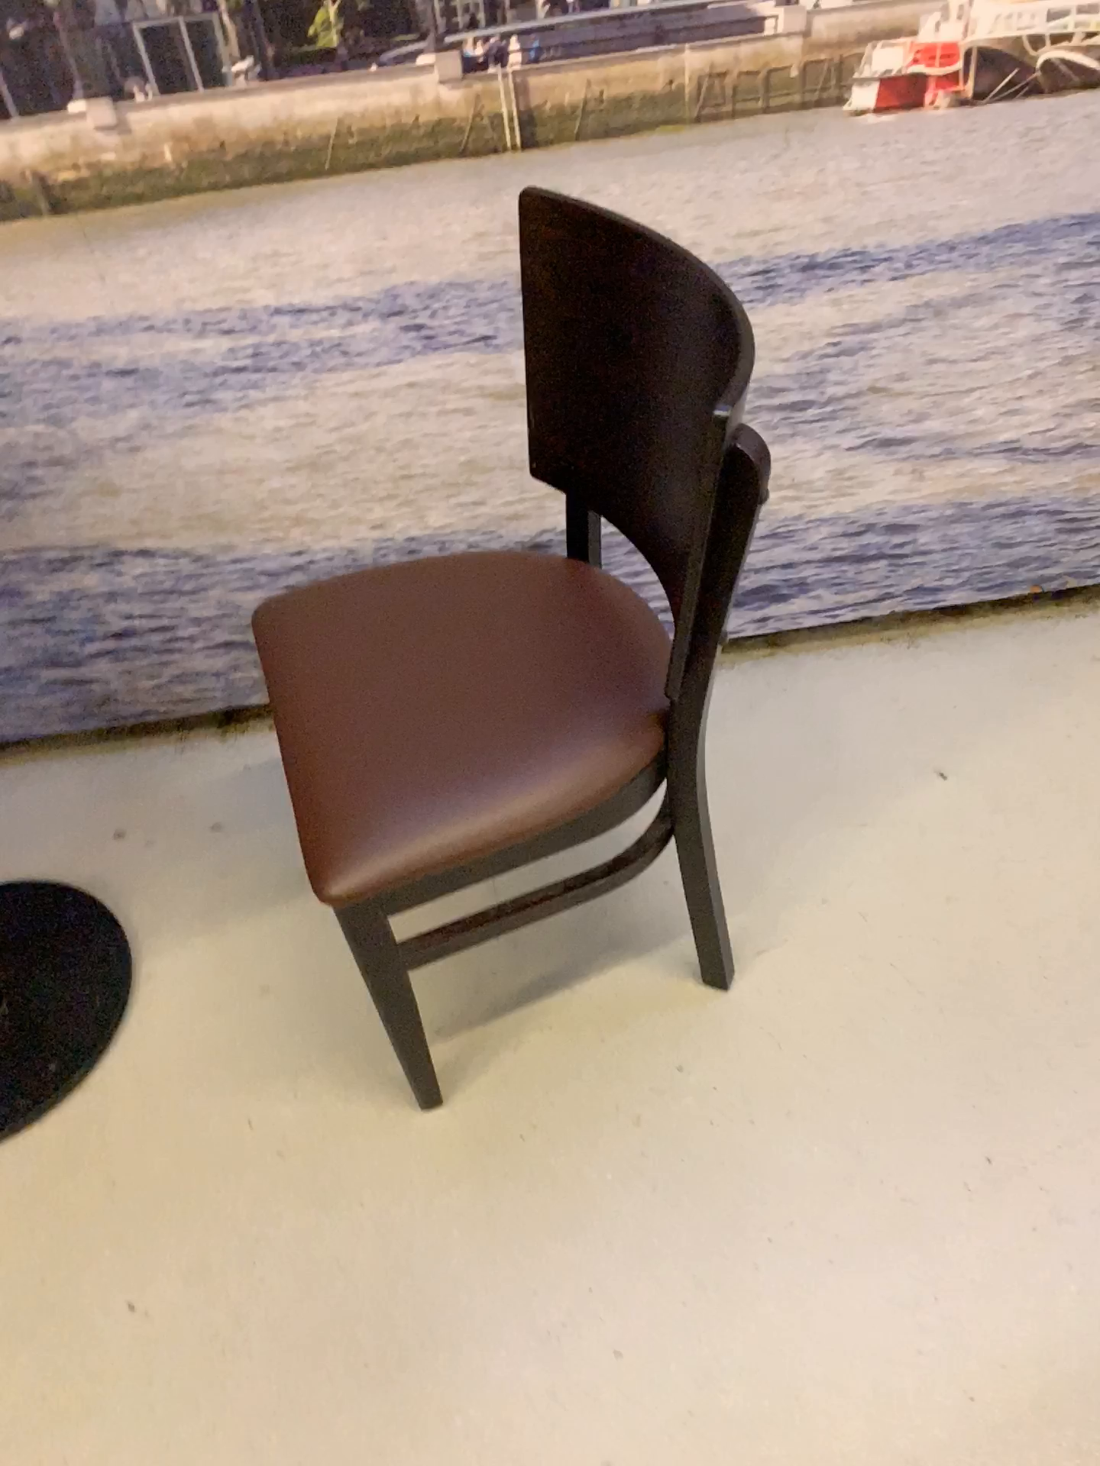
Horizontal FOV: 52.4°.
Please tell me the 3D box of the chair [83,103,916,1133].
[{"bbox_3d":[-0.055,-0.097,1.119,0.516,0.729,0.563,-16,46,-7],"label":"chair"}]
